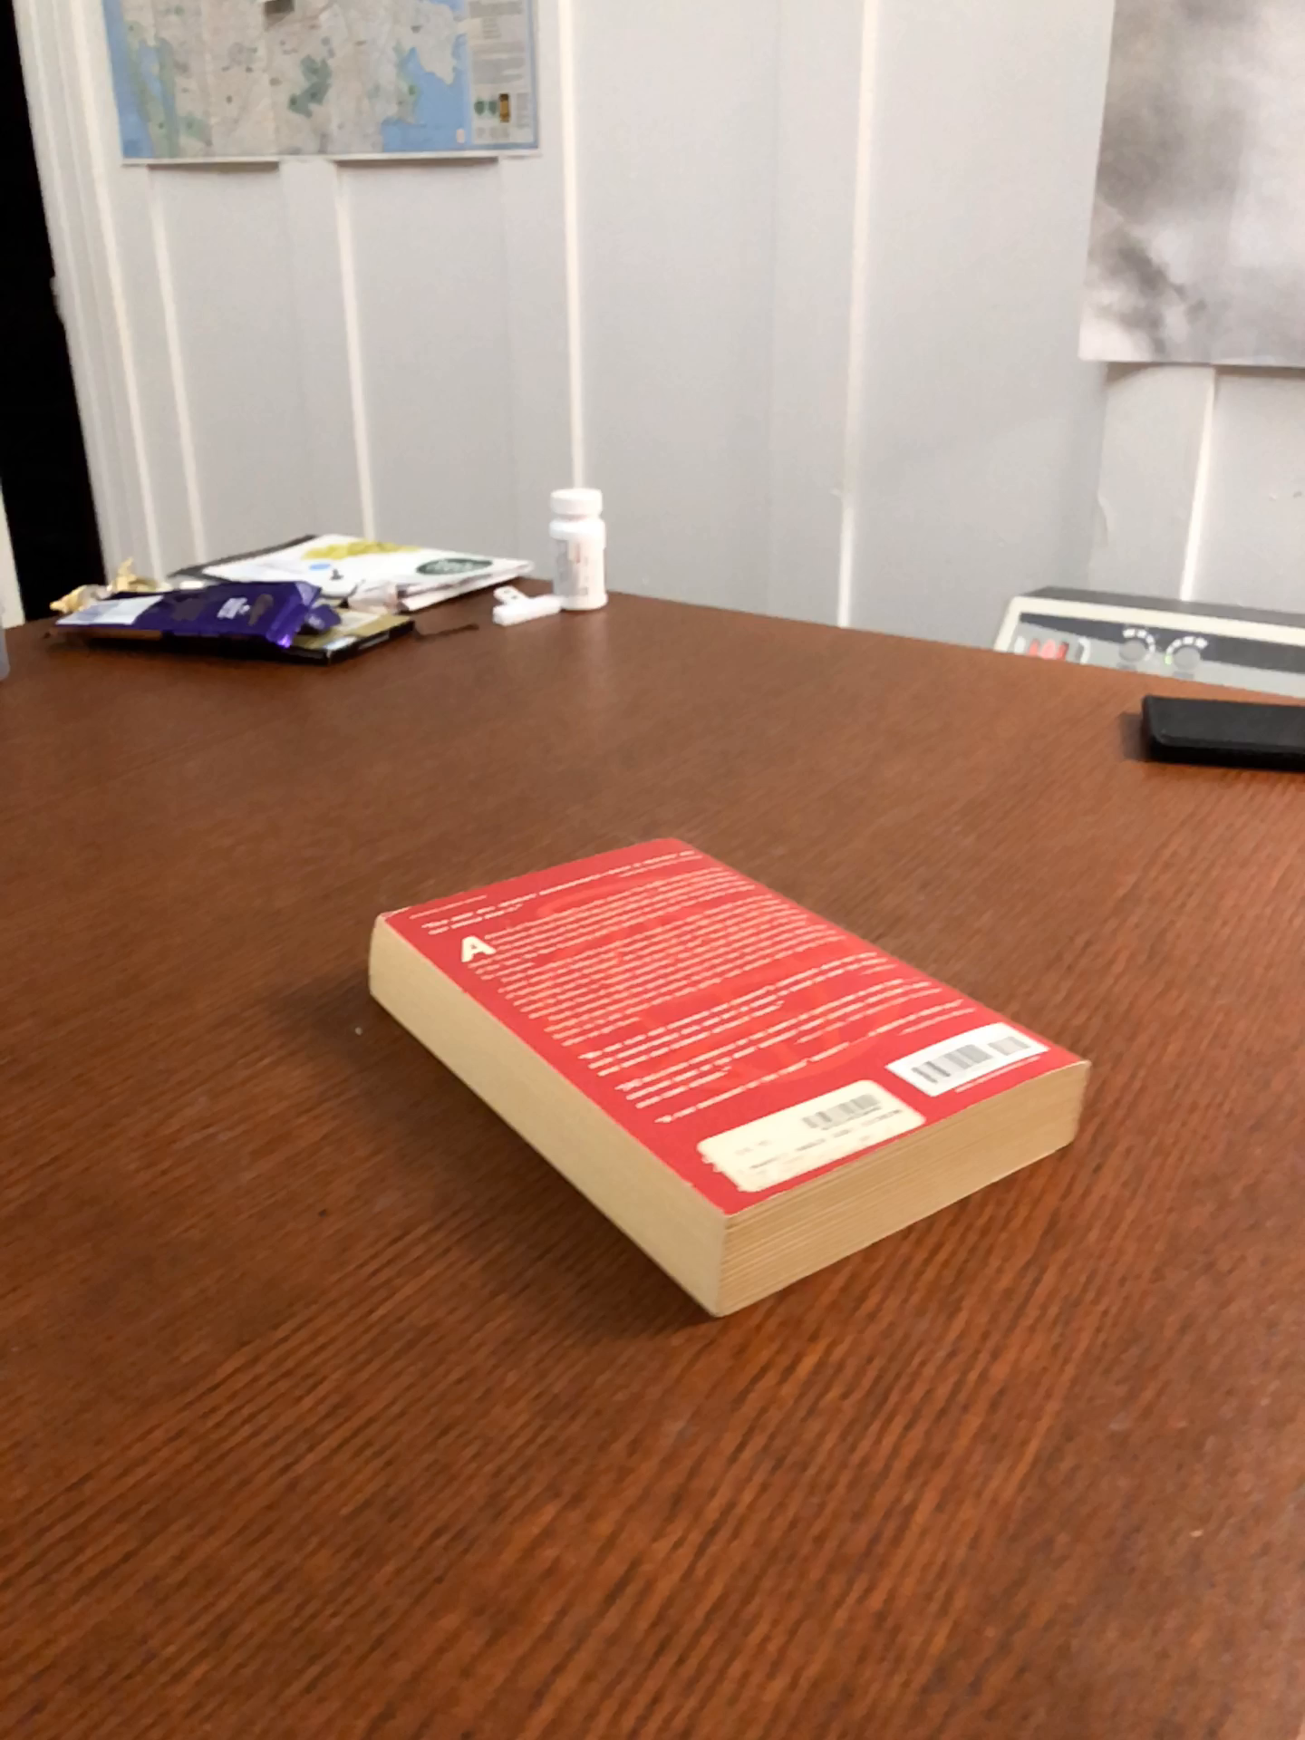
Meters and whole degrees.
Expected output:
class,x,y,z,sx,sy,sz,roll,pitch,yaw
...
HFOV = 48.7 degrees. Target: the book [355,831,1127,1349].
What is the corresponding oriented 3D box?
class,x,y,z,sx,sy,sz,roll,pitch,yaw
book,0.016,0.049,0.454,0.140,0.030,0.211,-15,28,-31
